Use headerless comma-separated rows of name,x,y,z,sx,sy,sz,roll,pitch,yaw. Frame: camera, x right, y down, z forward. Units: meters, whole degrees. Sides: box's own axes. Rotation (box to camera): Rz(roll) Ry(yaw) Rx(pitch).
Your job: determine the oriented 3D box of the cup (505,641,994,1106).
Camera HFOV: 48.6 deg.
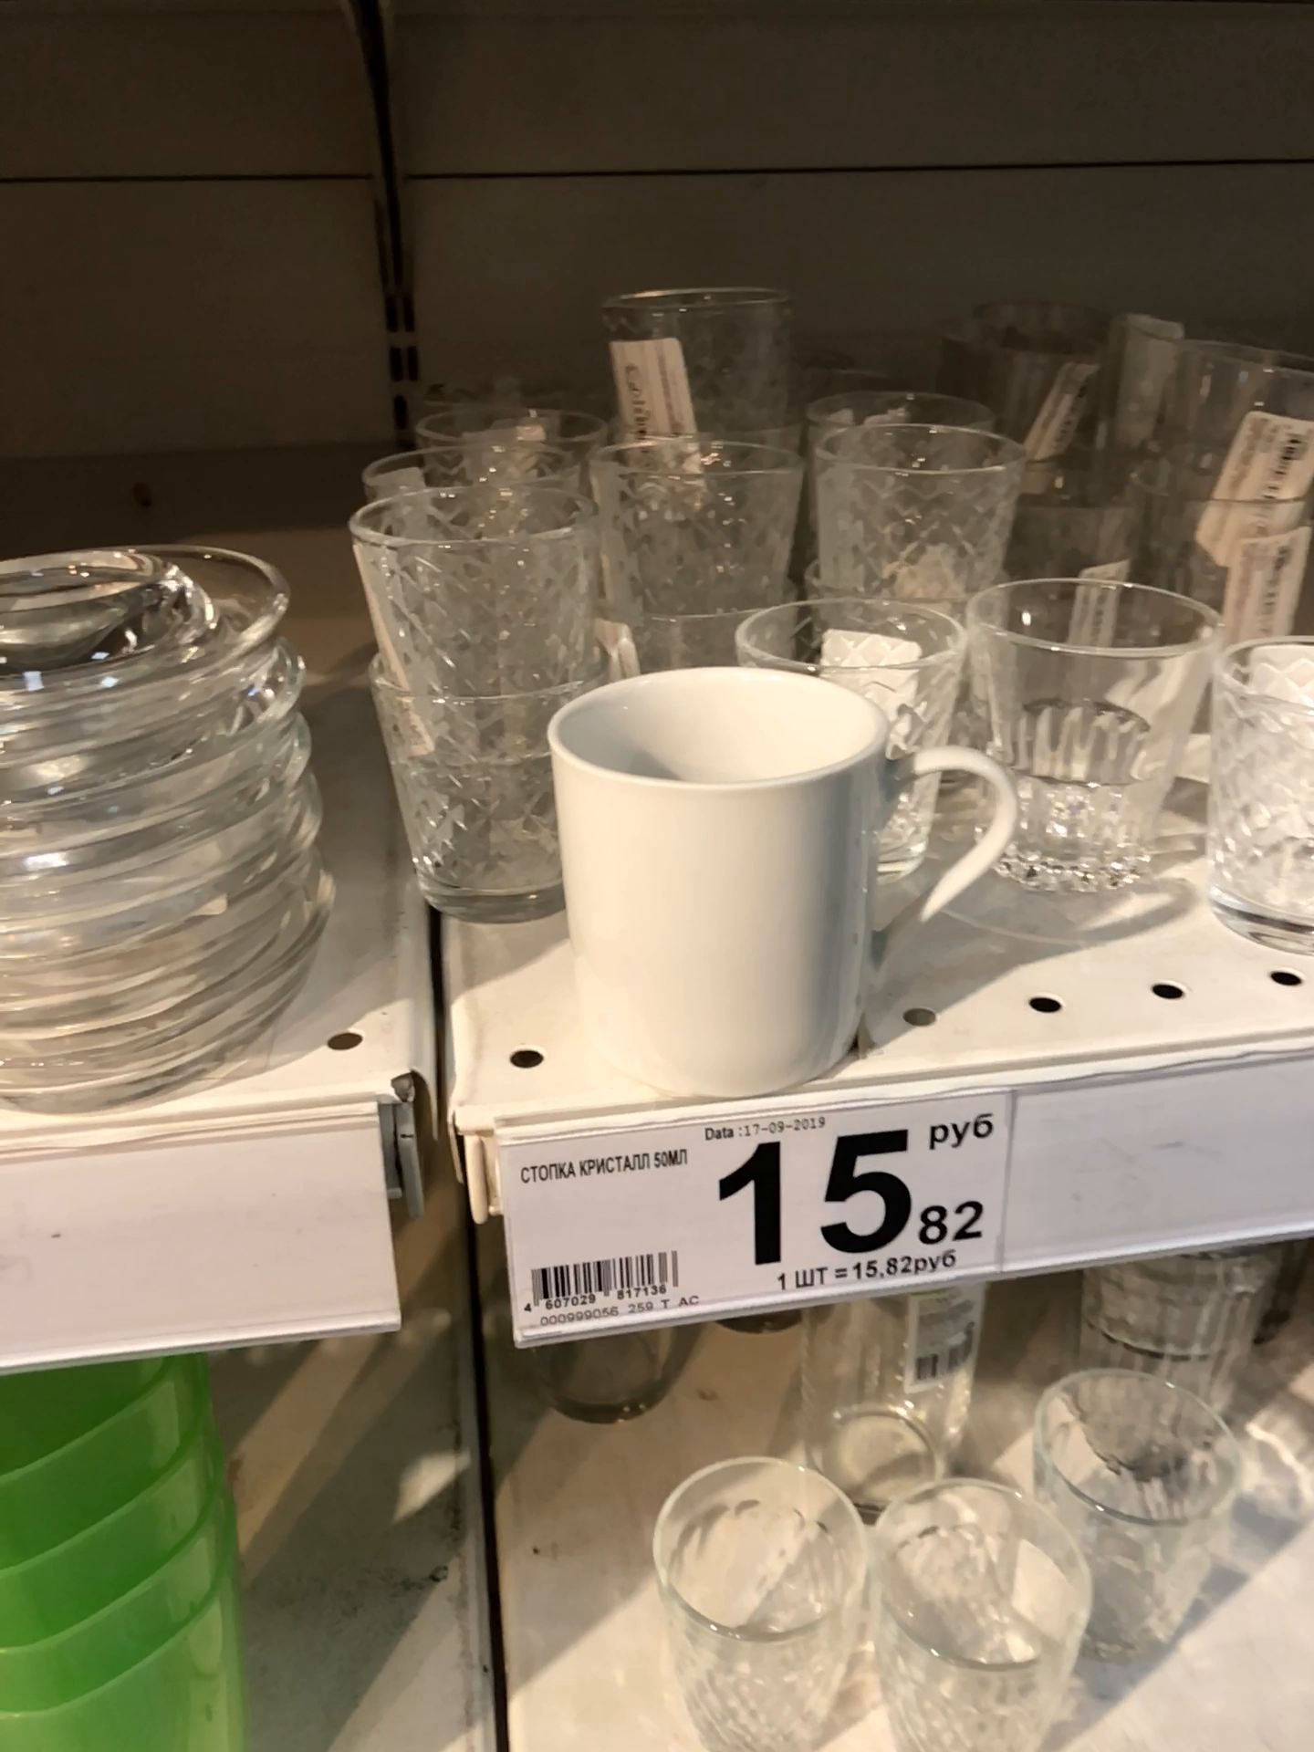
cup,0.012,-0.003,0.259,0.074,0.060,0.057,-2,27,-4
